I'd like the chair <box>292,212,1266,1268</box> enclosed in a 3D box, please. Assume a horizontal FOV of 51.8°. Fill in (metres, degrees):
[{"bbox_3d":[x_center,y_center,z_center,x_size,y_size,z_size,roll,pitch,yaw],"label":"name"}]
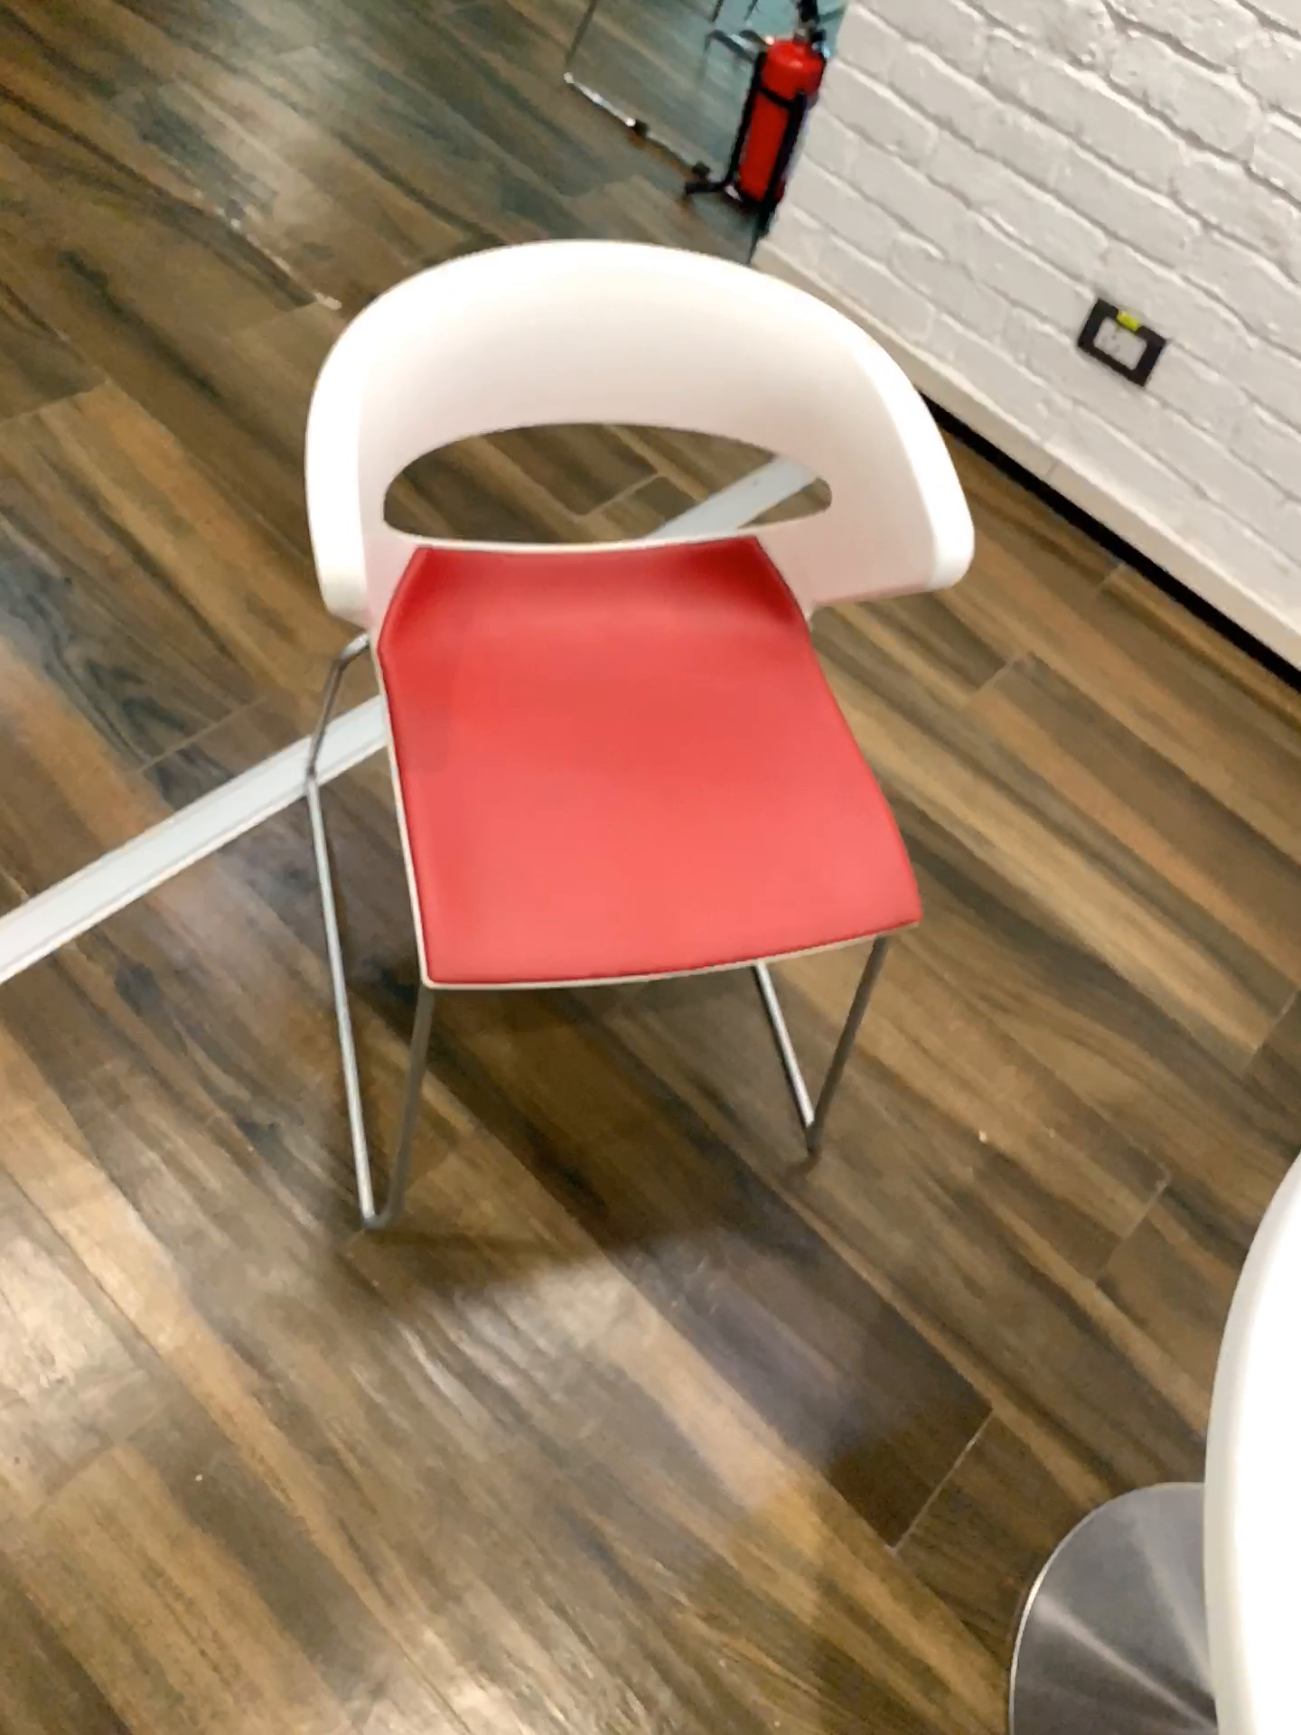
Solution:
[{"bbox_3d":[-0.003,-0.089,1.264,0.591,0.676,0.643,-4,58,-18],"label":"chair"}]
